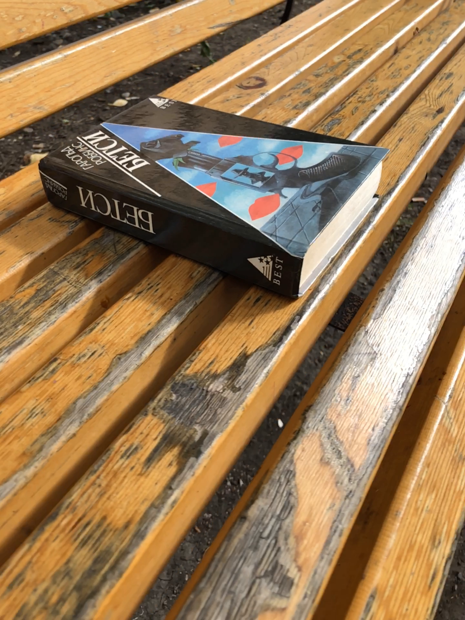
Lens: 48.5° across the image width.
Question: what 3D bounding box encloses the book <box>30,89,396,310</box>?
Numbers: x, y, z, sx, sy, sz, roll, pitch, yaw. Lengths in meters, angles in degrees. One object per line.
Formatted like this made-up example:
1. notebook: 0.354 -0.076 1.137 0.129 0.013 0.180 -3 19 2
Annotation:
1. book: -0.013 -0.092 0.363 0.210 0.045 0.130 23 48 23
